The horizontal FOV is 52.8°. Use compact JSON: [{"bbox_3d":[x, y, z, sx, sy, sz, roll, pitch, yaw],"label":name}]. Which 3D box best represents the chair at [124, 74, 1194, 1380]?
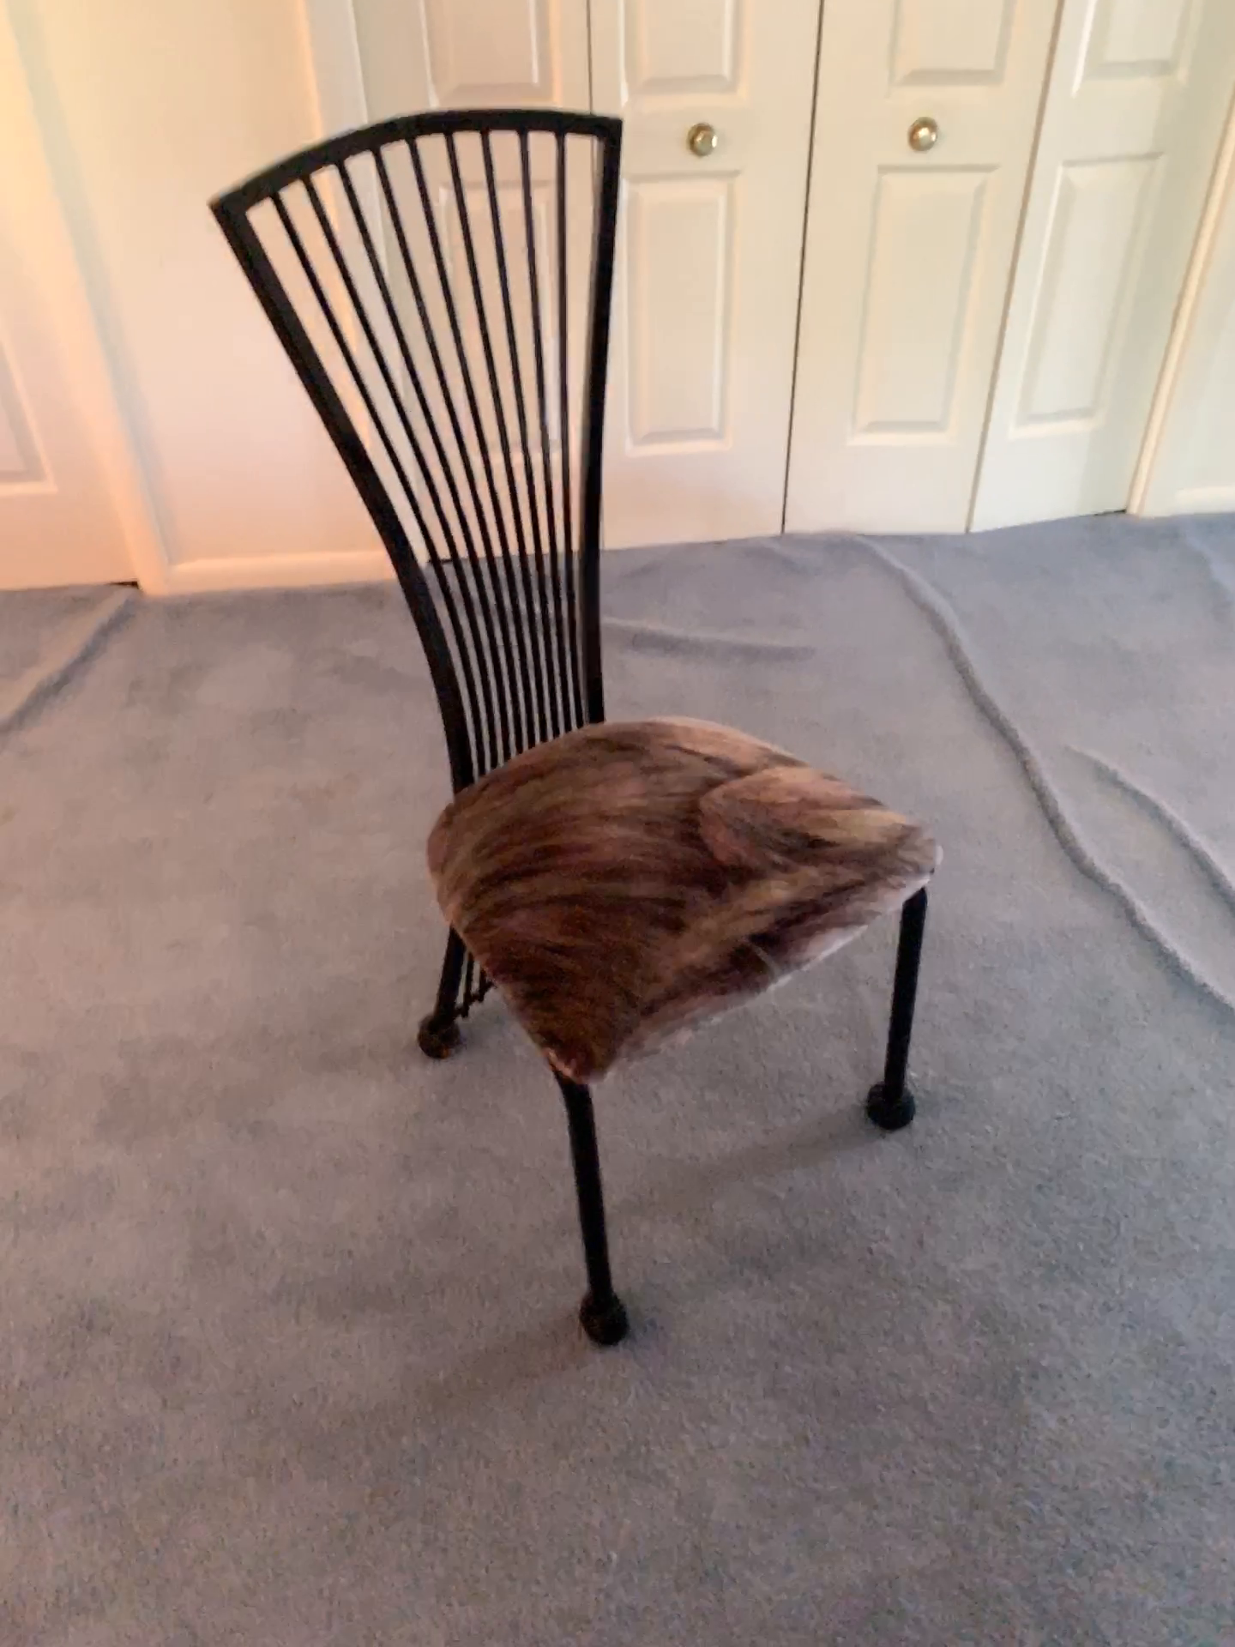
[{"bbox_3d":[0.019,-0.077,1.172,0.511,0.974,0.542,-29,47,-29],"label":"chair"}]
